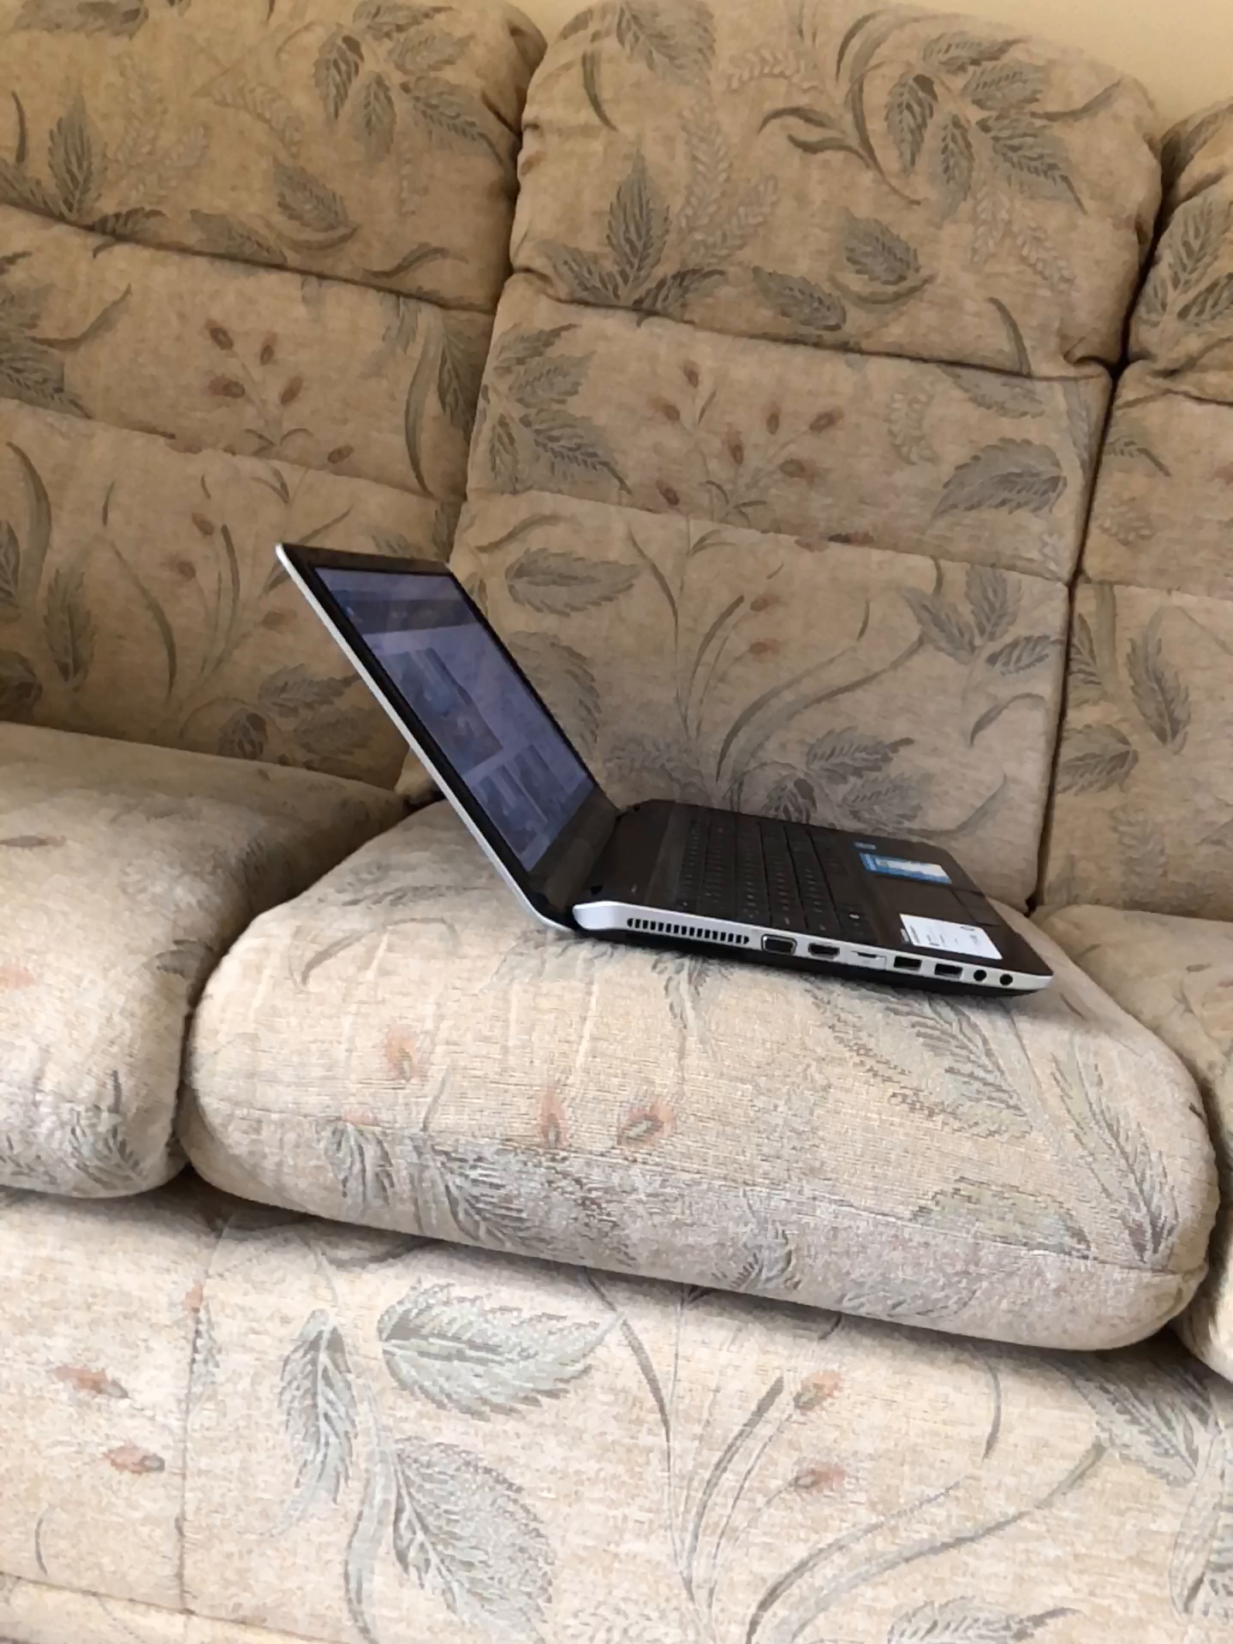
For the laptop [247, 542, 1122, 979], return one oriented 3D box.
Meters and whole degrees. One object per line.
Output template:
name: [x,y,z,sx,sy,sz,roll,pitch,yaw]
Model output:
laptop: [0.045,-0.054,0.855,0.410,0.151,0.397,9,10,3]
